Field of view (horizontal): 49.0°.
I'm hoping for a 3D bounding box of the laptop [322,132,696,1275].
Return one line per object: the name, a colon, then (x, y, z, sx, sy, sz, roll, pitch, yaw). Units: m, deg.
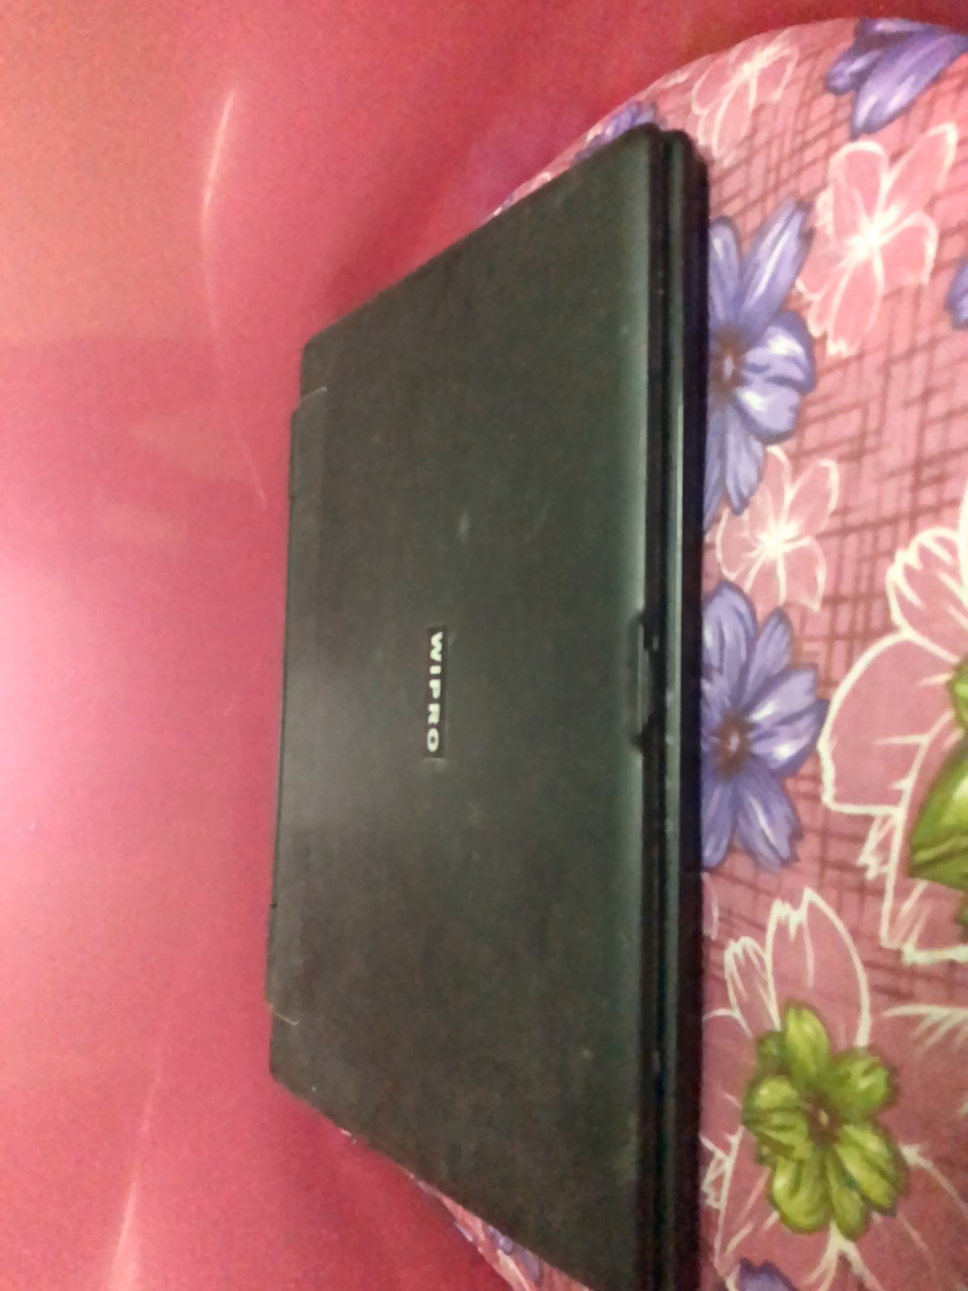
laptop: (-0.004, 0.015, 0.392, 0.221, 0.006, 0.322, -6, 81, 56)
